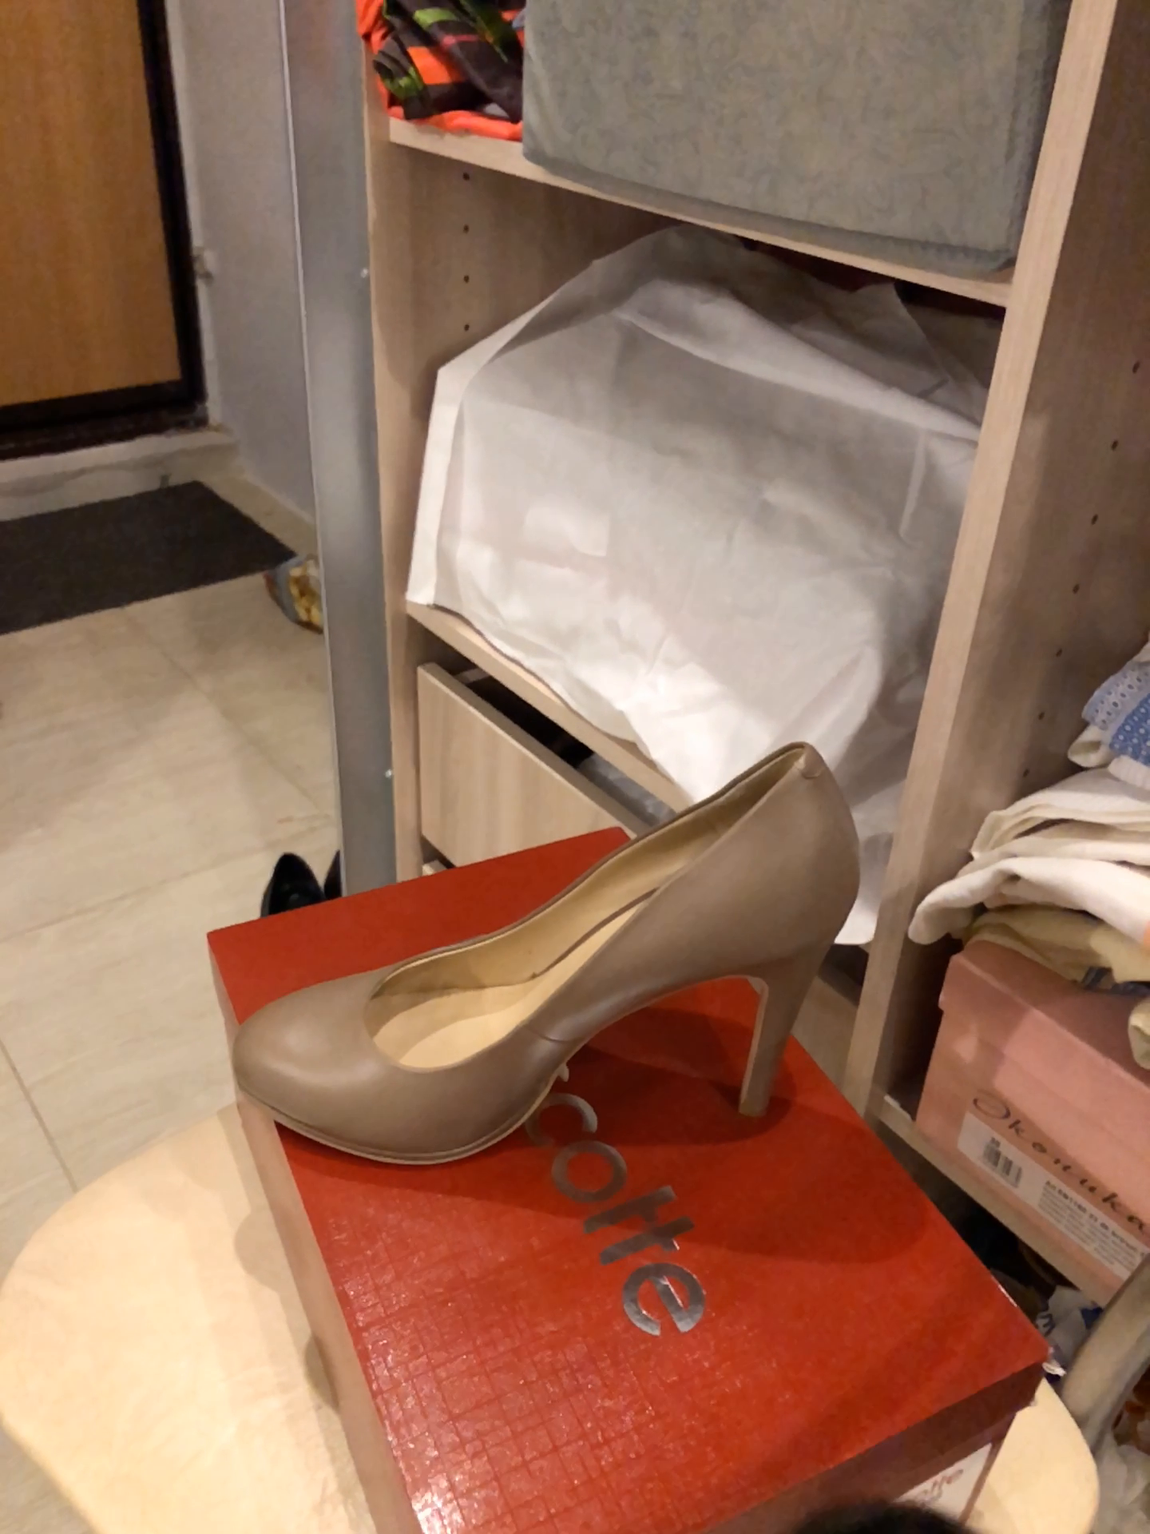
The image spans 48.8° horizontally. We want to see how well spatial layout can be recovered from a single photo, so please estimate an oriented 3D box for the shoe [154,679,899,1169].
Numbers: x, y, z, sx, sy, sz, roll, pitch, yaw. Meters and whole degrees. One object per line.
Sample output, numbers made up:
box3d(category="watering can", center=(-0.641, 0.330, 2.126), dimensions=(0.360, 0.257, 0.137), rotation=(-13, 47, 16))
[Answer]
box3d(category="shoe", center=(-0.017, 0.056, 0.439), dimensions=(0.214, 0.145, 0.084), rotation=(1, 32, -3))
